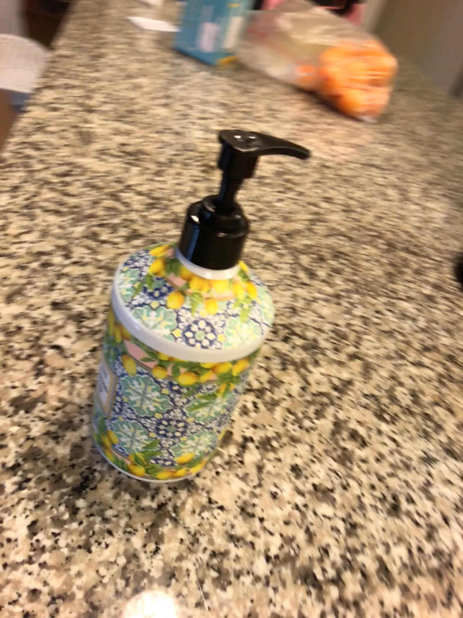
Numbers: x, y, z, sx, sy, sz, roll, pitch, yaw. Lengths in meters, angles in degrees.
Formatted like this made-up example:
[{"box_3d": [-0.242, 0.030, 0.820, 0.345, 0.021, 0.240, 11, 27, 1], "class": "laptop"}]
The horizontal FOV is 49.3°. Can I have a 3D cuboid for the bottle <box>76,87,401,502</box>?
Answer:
[{"box_3d": [-0.018, 0.008, 0.260, 0.100, 0.189, 0.091, 6, 40, -17], "class": "bottle"}]
